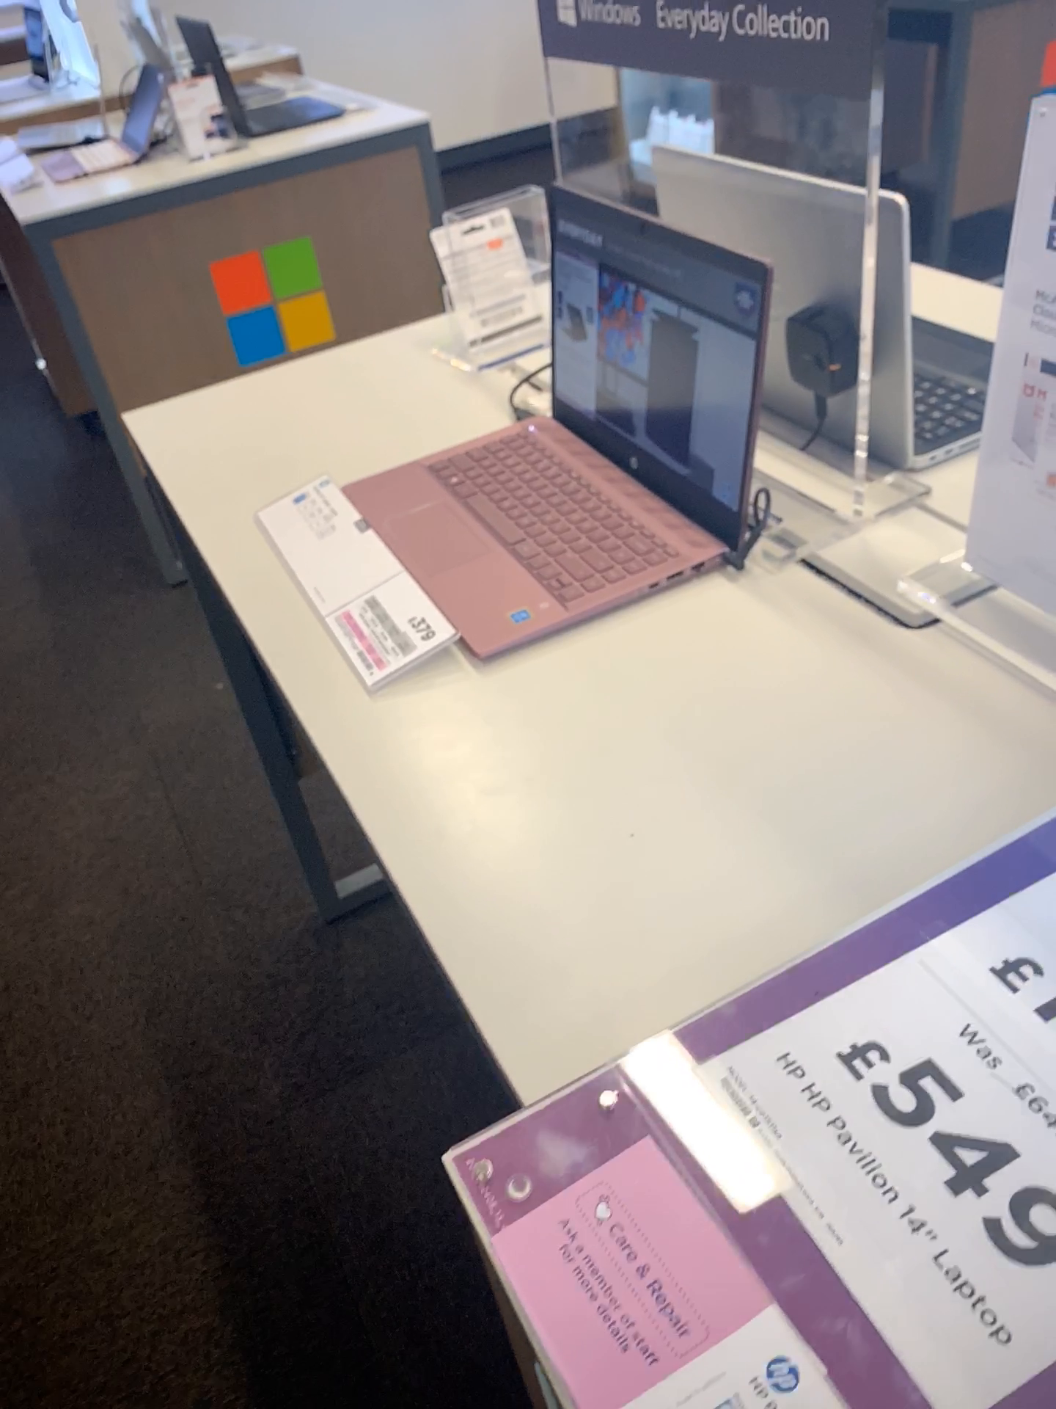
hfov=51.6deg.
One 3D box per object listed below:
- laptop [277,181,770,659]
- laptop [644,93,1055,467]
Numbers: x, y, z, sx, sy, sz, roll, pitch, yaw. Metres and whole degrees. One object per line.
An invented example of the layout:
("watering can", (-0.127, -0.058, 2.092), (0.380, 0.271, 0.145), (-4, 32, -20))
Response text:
("laptop", (-0.010, -0.239, 0.845), (0.249, 0.200, 0.314), (-22, 40, -15))
("laptop", (0.295, -0.386, 0.949), (0.244, 0.186, 0.326), (-23, 40, -17))
